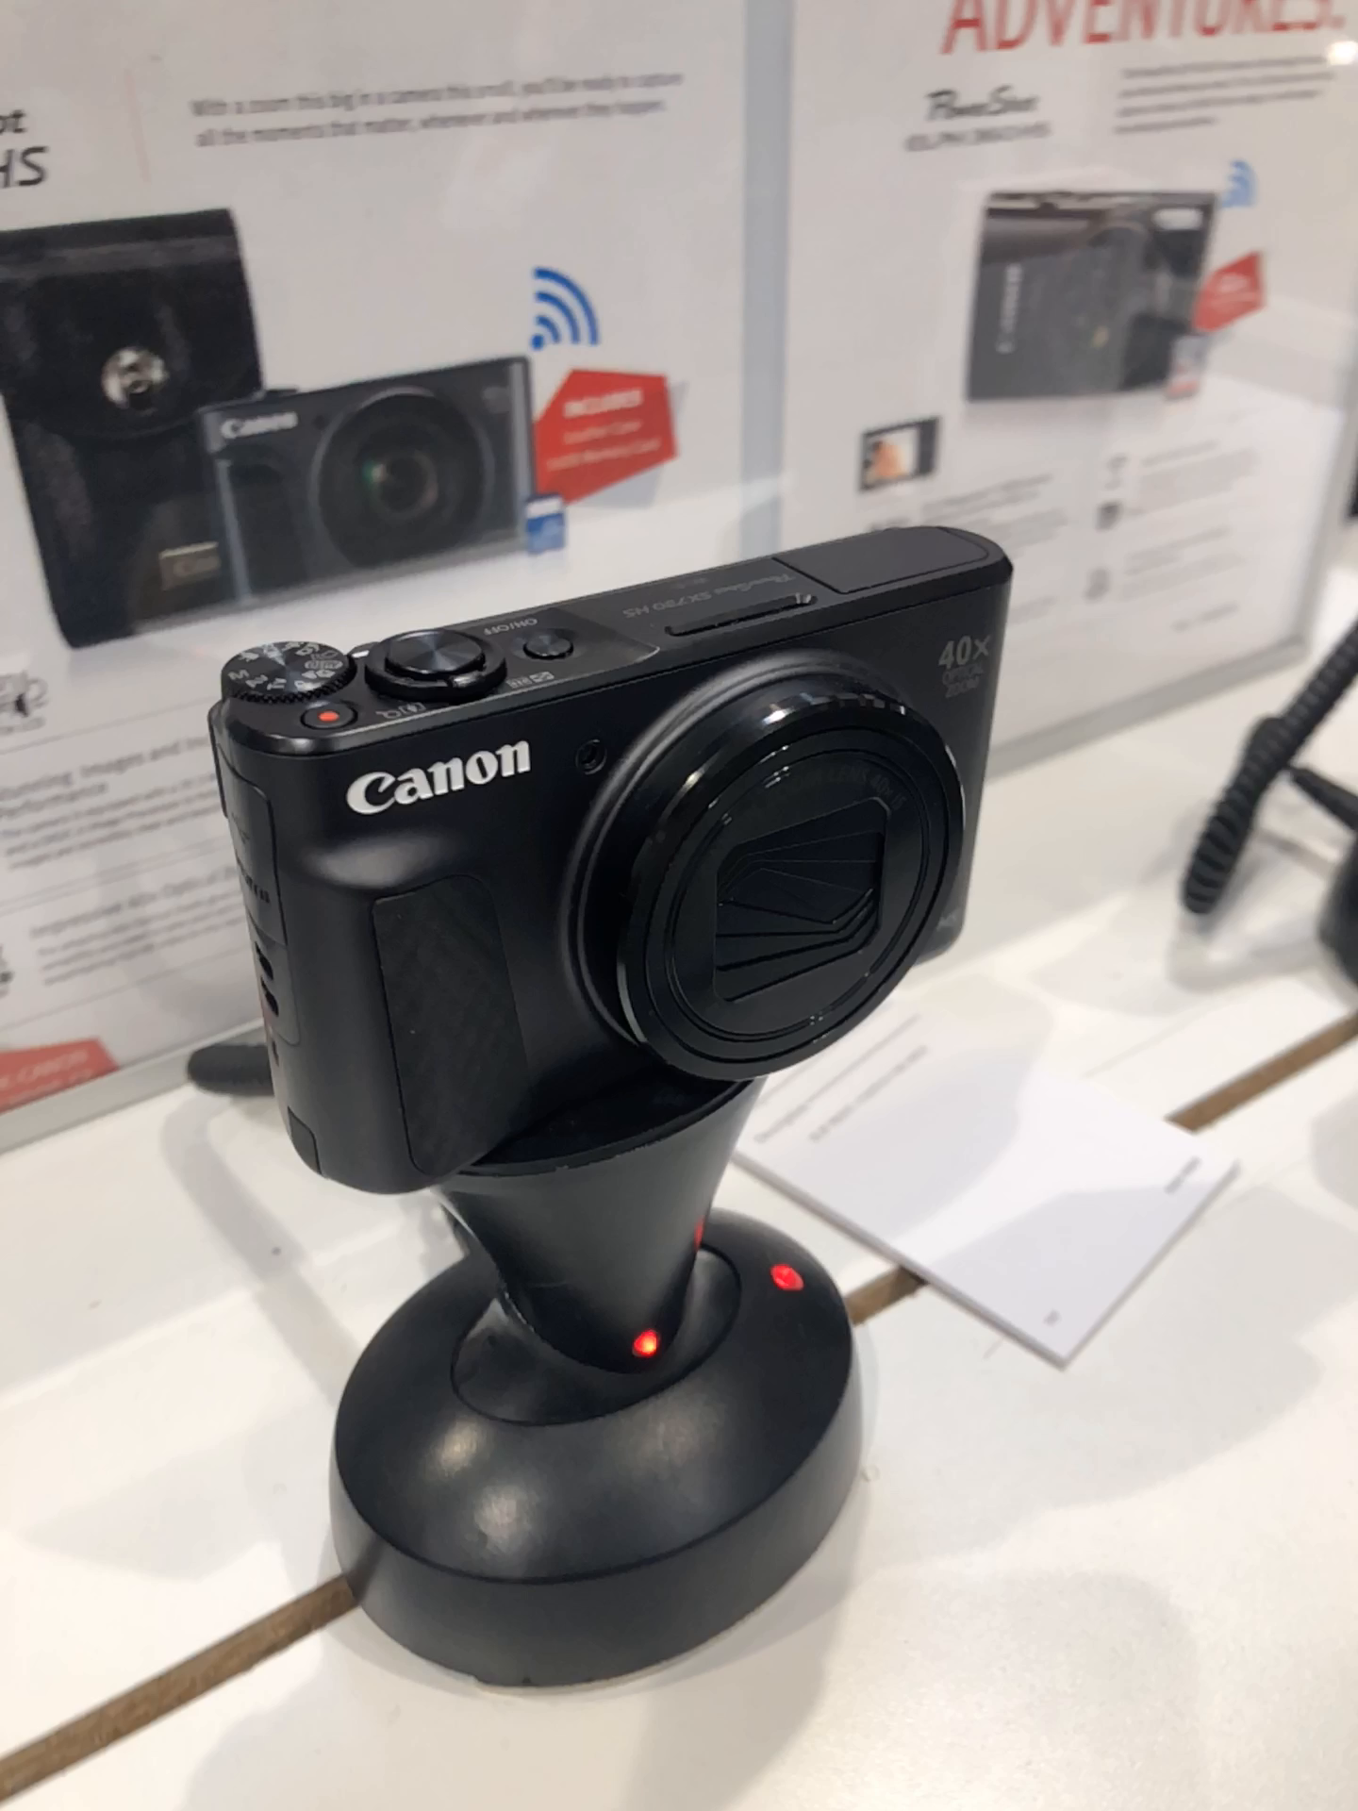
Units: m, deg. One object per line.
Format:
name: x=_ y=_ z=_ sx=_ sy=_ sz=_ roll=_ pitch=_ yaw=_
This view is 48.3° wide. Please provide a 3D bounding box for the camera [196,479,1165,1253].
camera: x=0.003 y=-0.011 z=0.196 sx=0.110 sy=0.060 sz=0.040 roll=-19 pitch=38 yaw=-26
